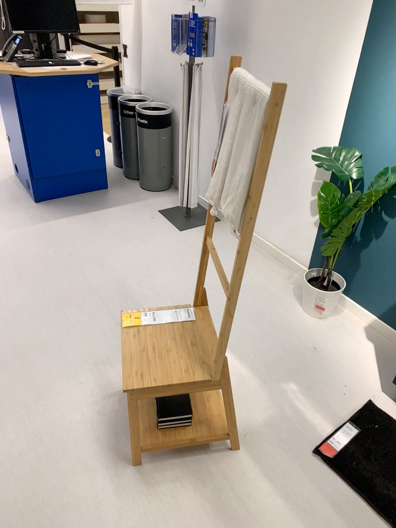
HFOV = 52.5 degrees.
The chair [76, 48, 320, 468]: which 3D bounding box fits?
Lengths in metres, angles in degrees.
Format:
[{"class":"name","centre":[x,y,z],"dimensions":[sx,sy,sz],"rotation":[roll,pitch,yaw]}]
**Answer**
[{"class":"chair","centre":[-0.051,0.058,1.311],"dimensions":[0.470,1.294,0.462],"rotation":[-3,34,-9]}]
